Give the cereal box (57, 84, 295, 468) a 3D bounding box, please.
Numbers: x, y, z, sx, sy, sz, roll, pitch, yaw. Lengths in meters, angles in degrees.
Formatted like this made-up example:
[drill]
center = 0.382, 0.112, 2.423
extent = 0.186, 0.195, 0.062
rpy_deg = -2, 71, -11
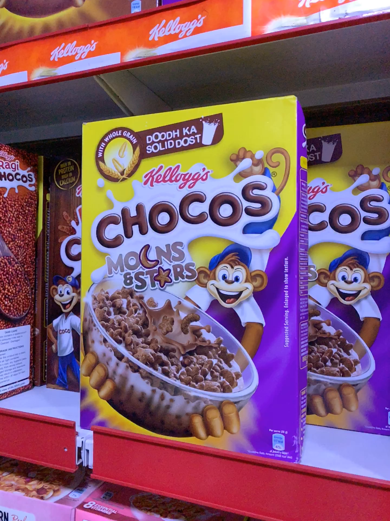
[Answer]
[cereal box]
center = -0.016, 0.009, 0.323
extent = 0.180, 0.250, 0.060
rpy_deg = 0, -1, 20
